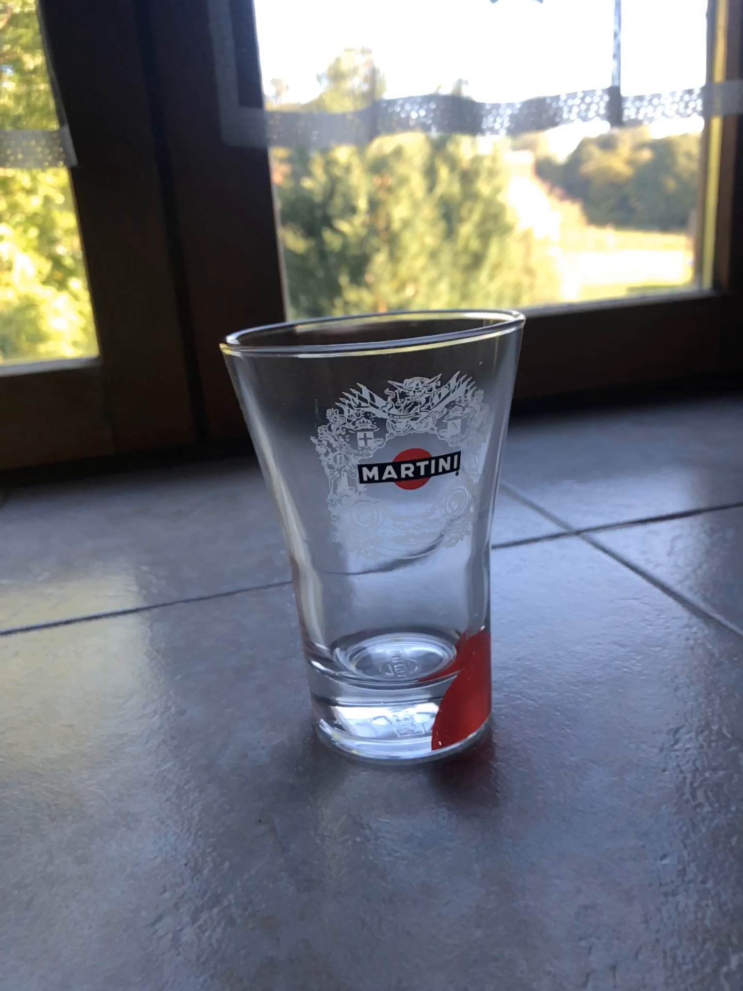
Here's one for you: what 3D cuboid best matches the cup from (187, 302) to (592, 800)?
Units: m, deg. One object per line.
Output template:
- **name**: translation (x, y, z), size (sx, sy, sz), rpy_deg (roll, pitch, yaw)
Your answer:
- **cup**: translation (0.004, 0.008, 0.255), size (0.095, 0.116, 0.093), rpy_deg (-4, 18, 1)
